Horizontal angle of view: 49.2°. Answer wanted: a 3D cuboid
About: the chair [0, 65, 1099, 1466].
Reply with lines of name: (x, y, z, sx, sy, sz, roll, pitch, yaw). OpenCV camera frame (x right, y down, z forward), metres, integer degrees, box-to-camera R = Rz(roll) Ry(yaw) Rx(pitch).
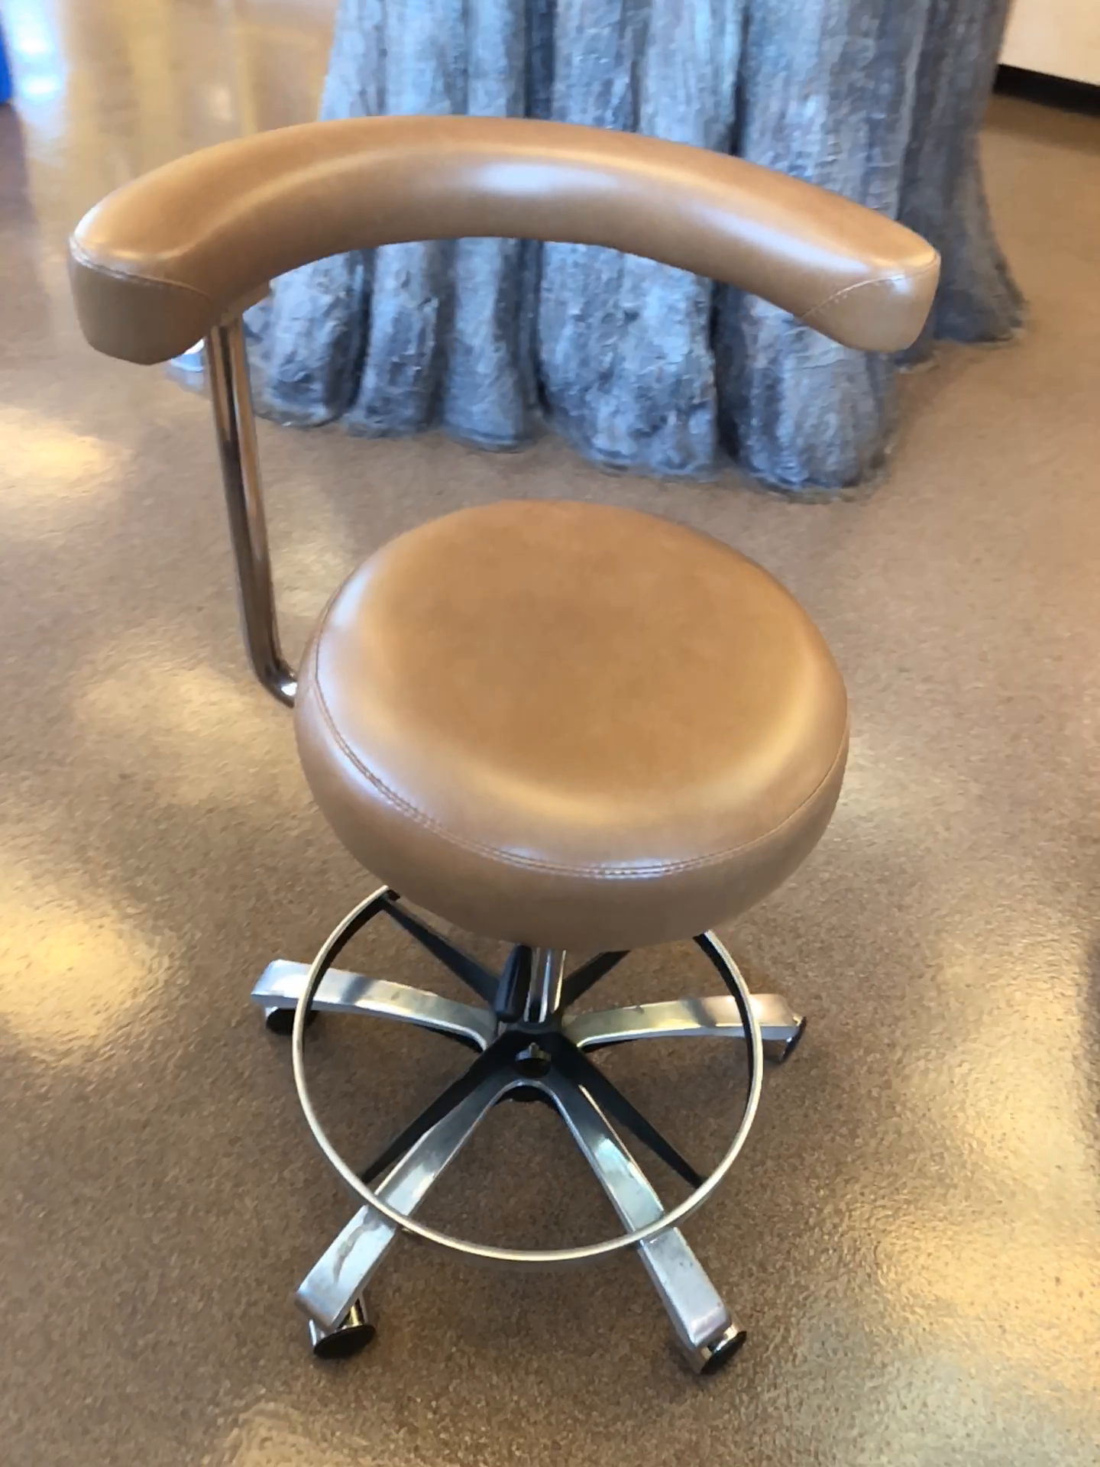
chair: (0.005, 0.045, 0.895, 0.610, 0.805, 0.594, -5, 44, -12)
